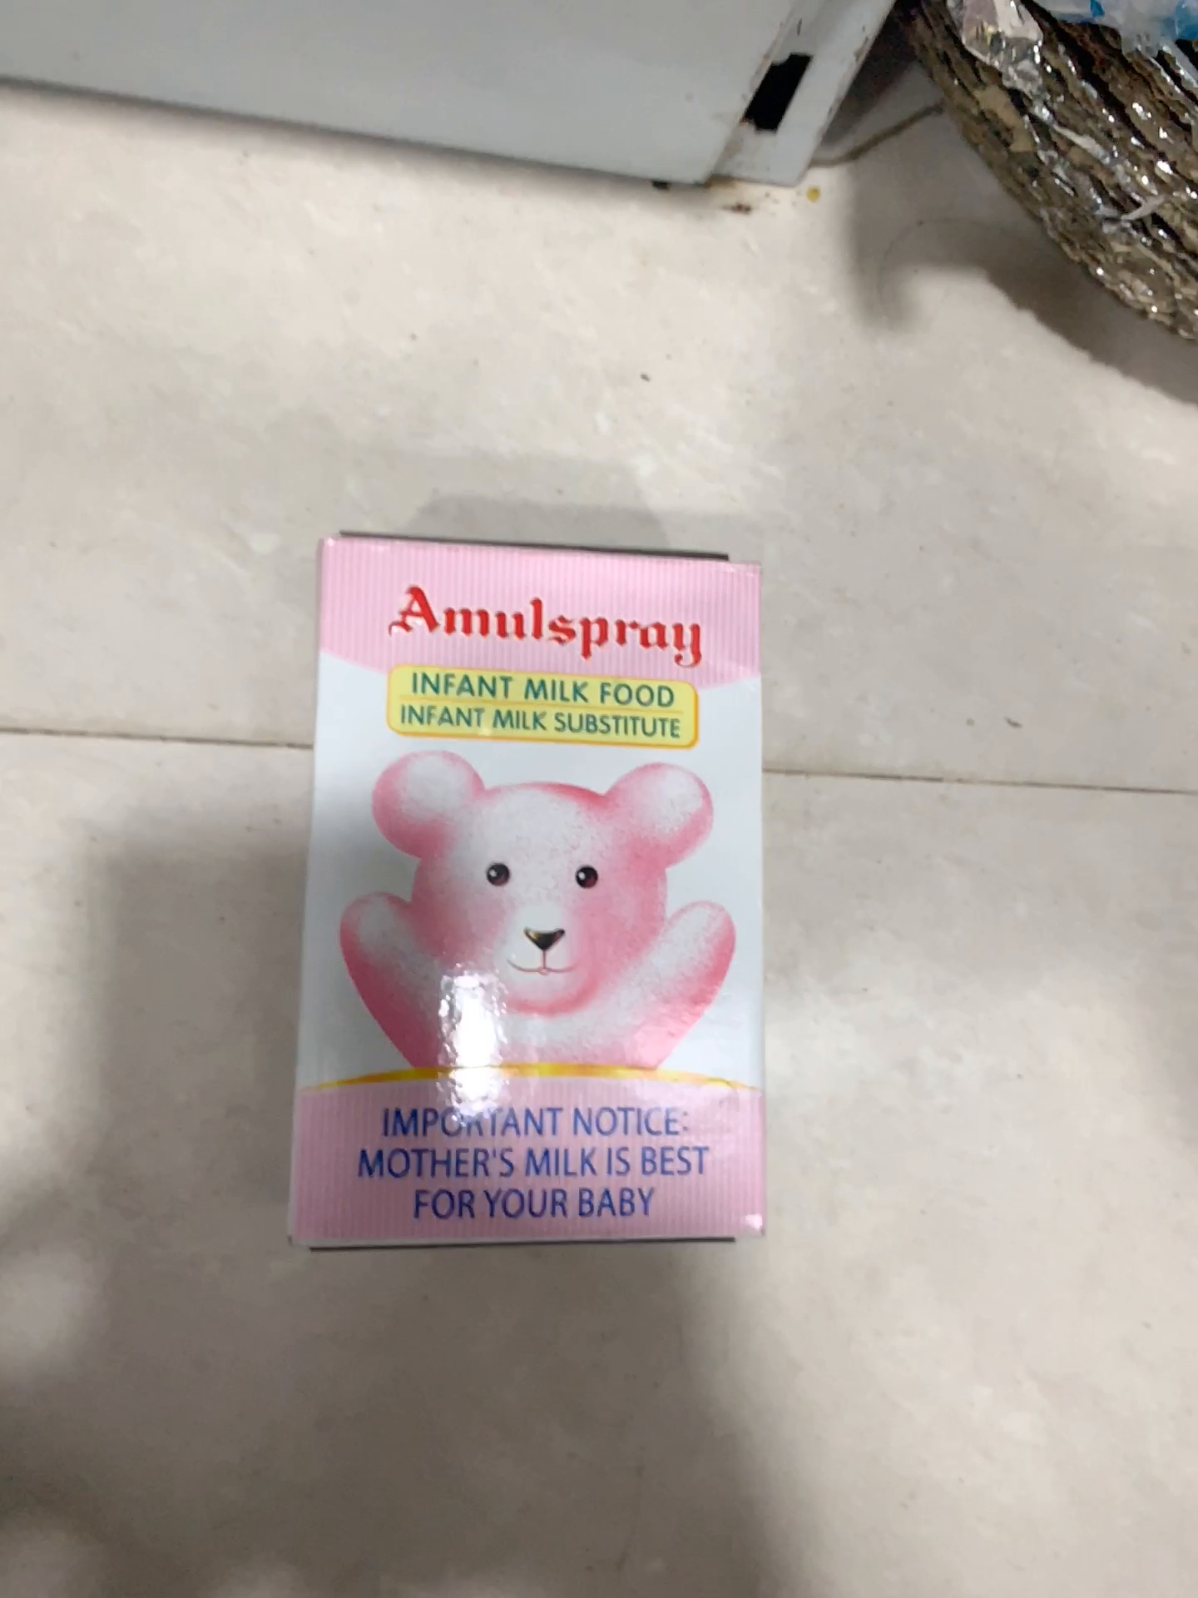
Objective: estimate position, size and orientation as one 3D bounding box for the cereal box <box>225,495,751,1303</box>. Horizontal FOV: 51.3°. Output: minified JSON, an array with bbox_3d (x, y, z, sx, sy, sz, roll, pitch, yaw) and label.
[{"bbox_3d":[-0.021,0.019,0.248,0.090,0.050,0.140,2,82,-9],"label":"cereal box"}]
